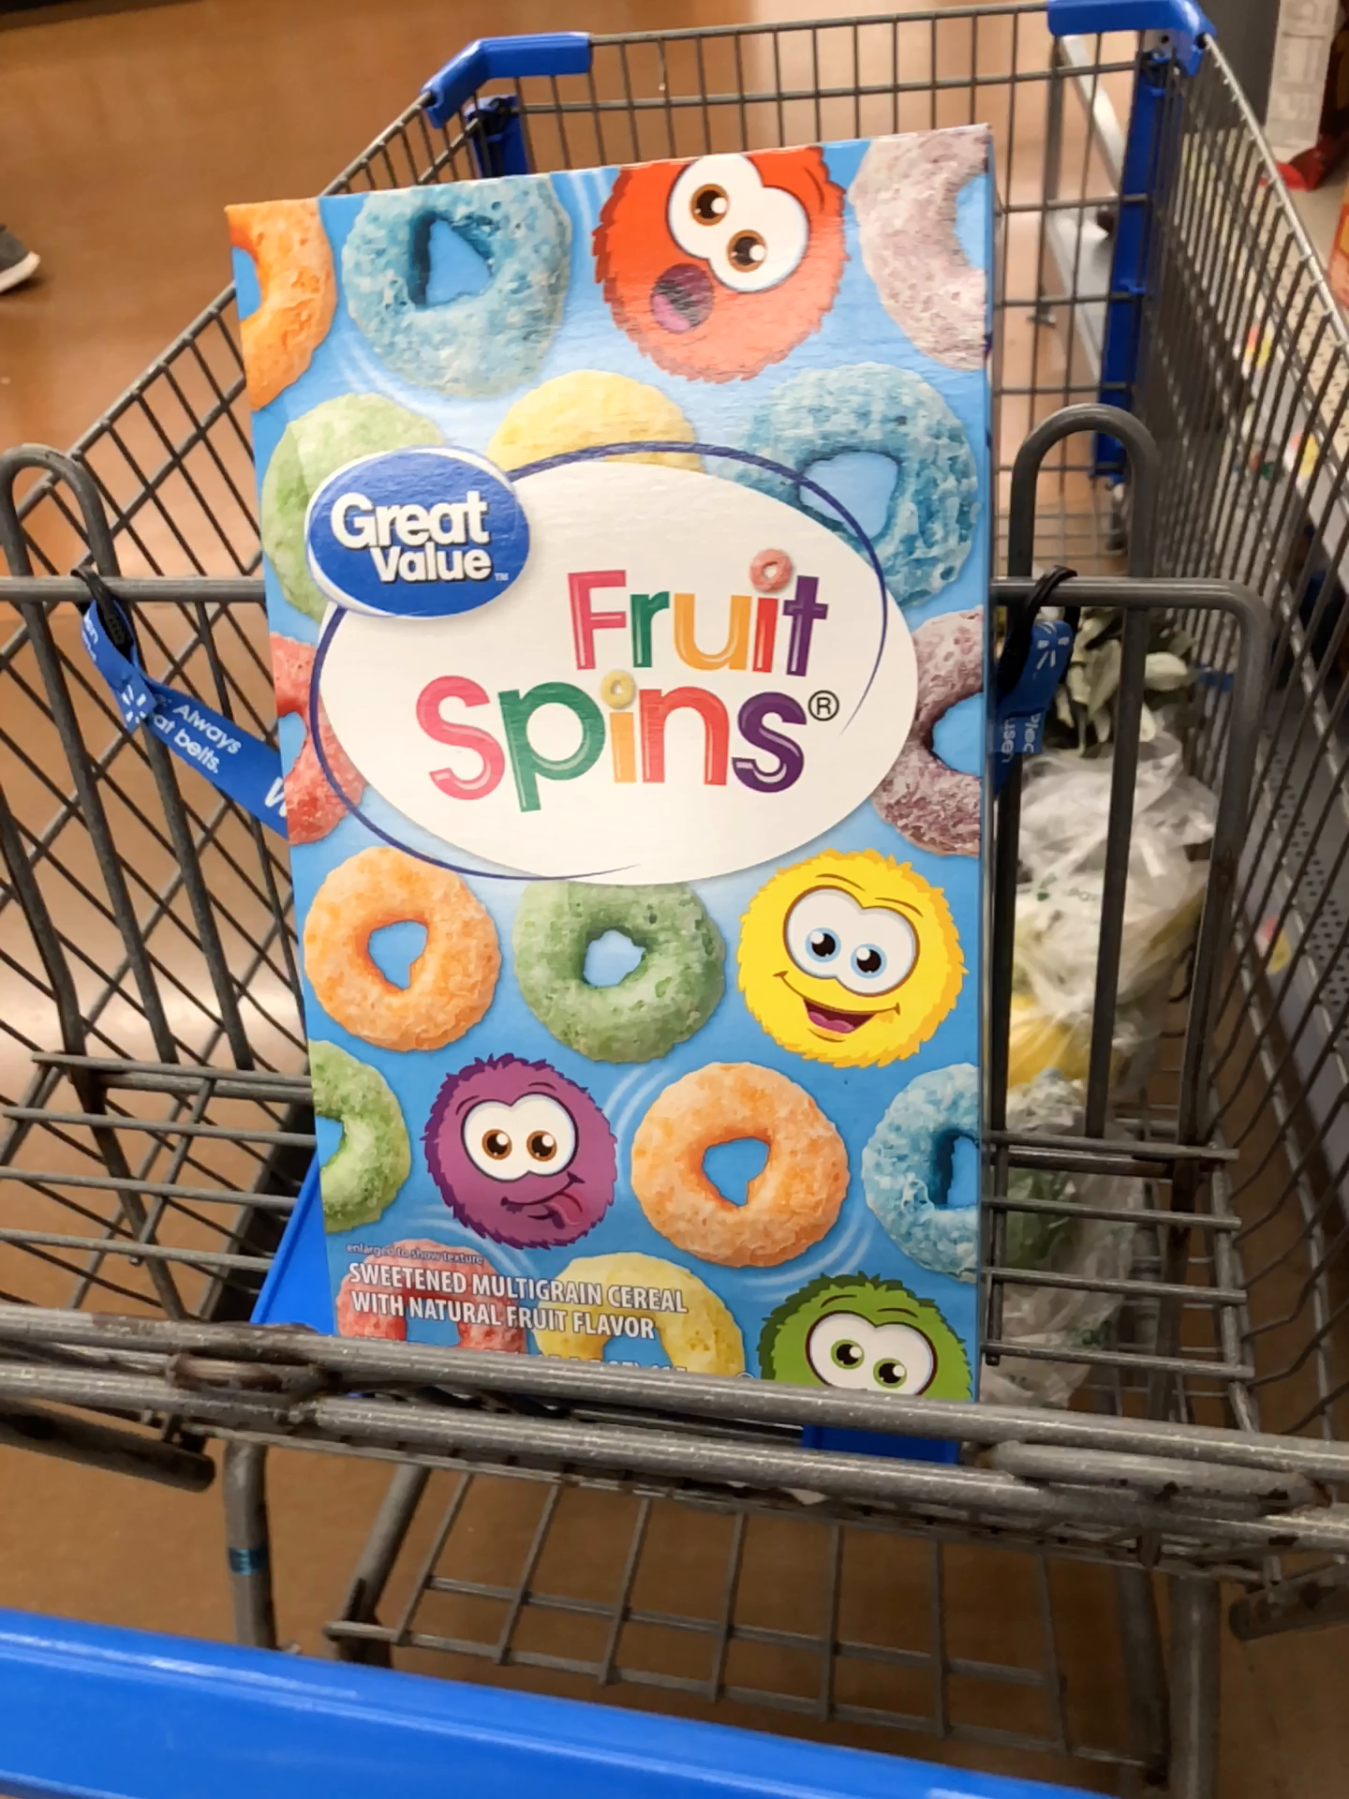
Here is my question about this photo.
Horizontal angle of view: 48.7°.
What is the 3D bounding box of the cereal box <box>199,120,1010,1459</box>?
[{"bbox_3d":[-0.007,-0.023,0.439,0.200,0.340,0.090,1,14,13],"label":"cereal box"}]
